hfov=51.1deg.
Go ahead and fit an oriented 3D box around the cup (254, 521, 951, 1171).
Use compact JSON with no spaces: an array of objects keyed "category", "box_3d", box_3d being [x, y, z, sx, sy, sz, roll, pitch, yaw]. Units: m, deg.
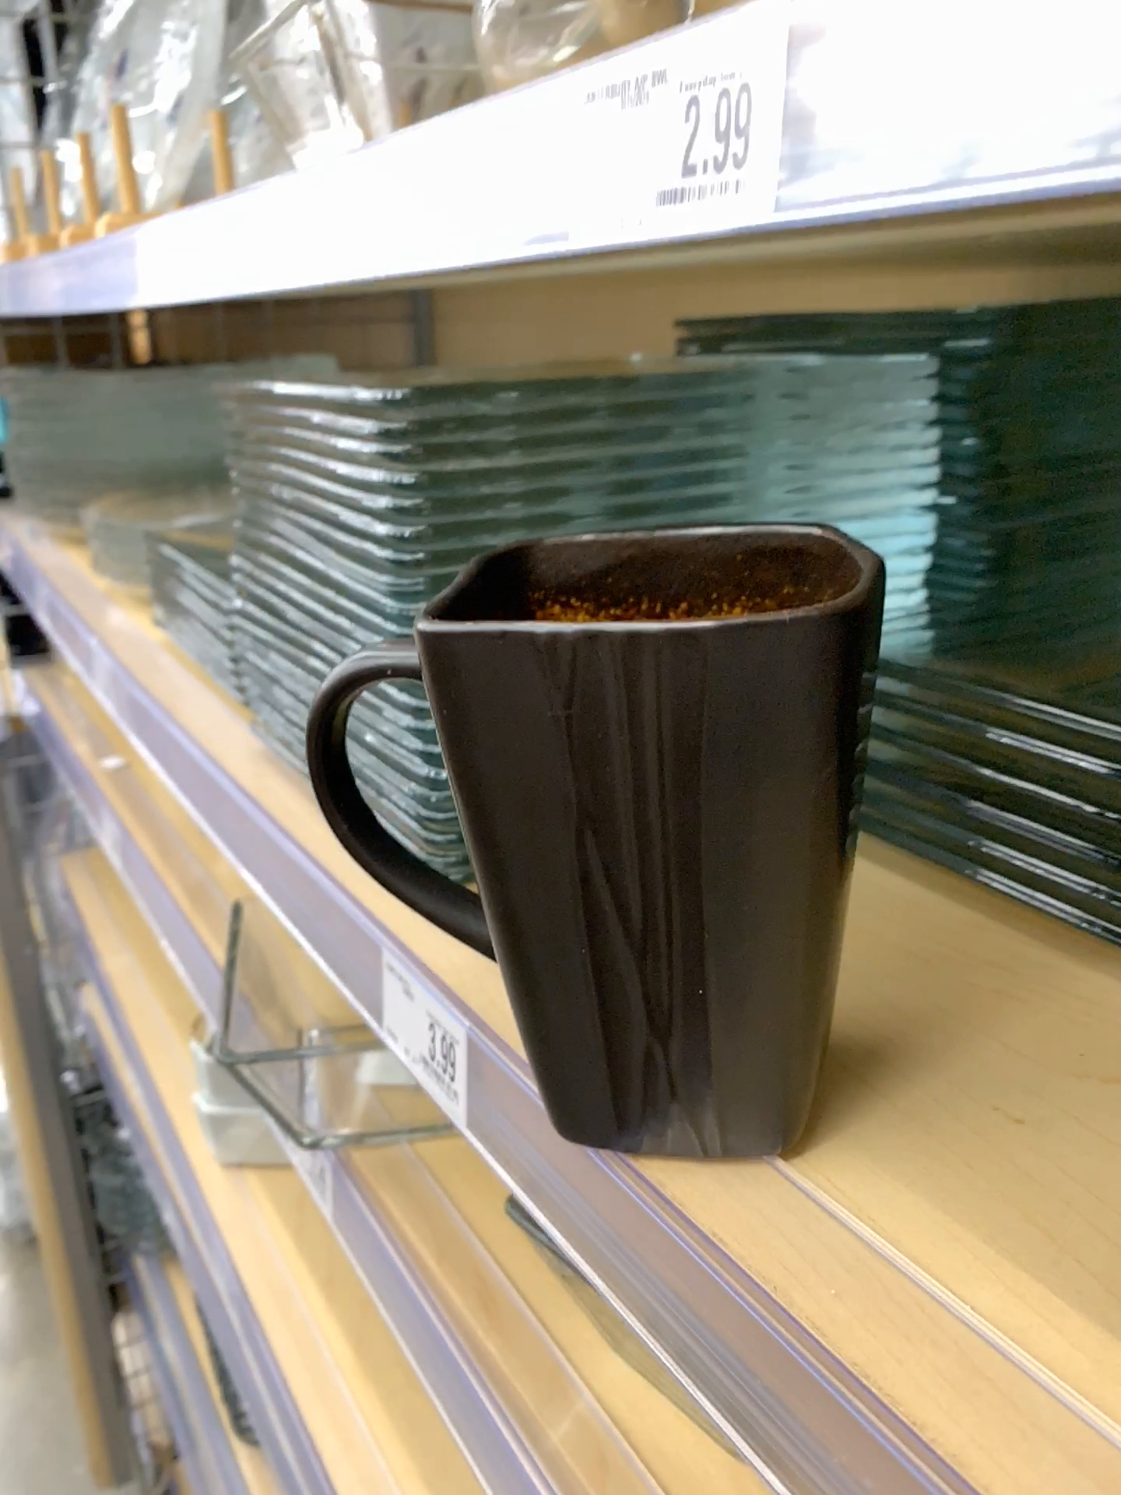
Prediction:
[{"category":"cup","box_3d":[0.011,0.012,0.238,0.107,0.099,0.088,1,20,7]}]
